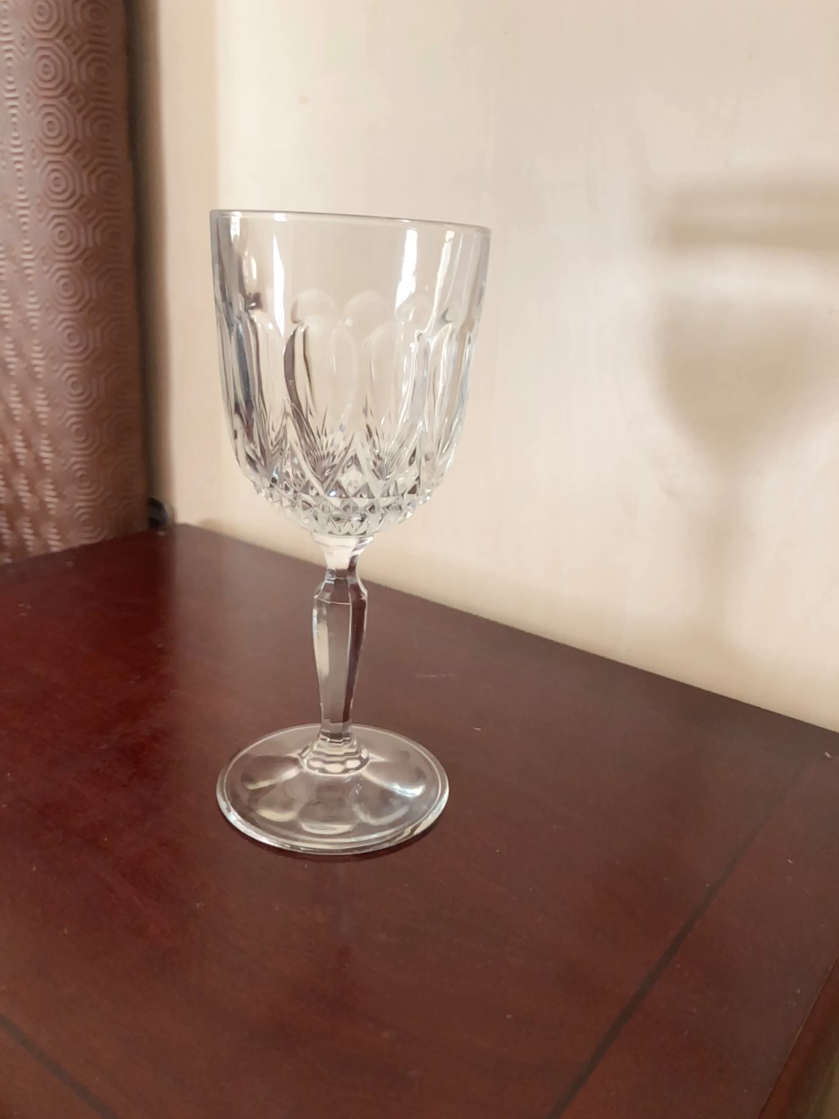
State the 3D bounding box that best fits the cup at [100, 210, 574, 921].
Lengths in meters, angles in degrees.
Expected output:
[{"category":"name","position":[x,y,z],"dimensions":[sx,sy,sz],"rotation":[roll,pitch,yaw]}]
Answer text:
[{"category":"cup","position":[-0.026,-0.009,0.287],"dimensions":[0.095,0.179,0.092],"rotation":[3,17,-1]}]
